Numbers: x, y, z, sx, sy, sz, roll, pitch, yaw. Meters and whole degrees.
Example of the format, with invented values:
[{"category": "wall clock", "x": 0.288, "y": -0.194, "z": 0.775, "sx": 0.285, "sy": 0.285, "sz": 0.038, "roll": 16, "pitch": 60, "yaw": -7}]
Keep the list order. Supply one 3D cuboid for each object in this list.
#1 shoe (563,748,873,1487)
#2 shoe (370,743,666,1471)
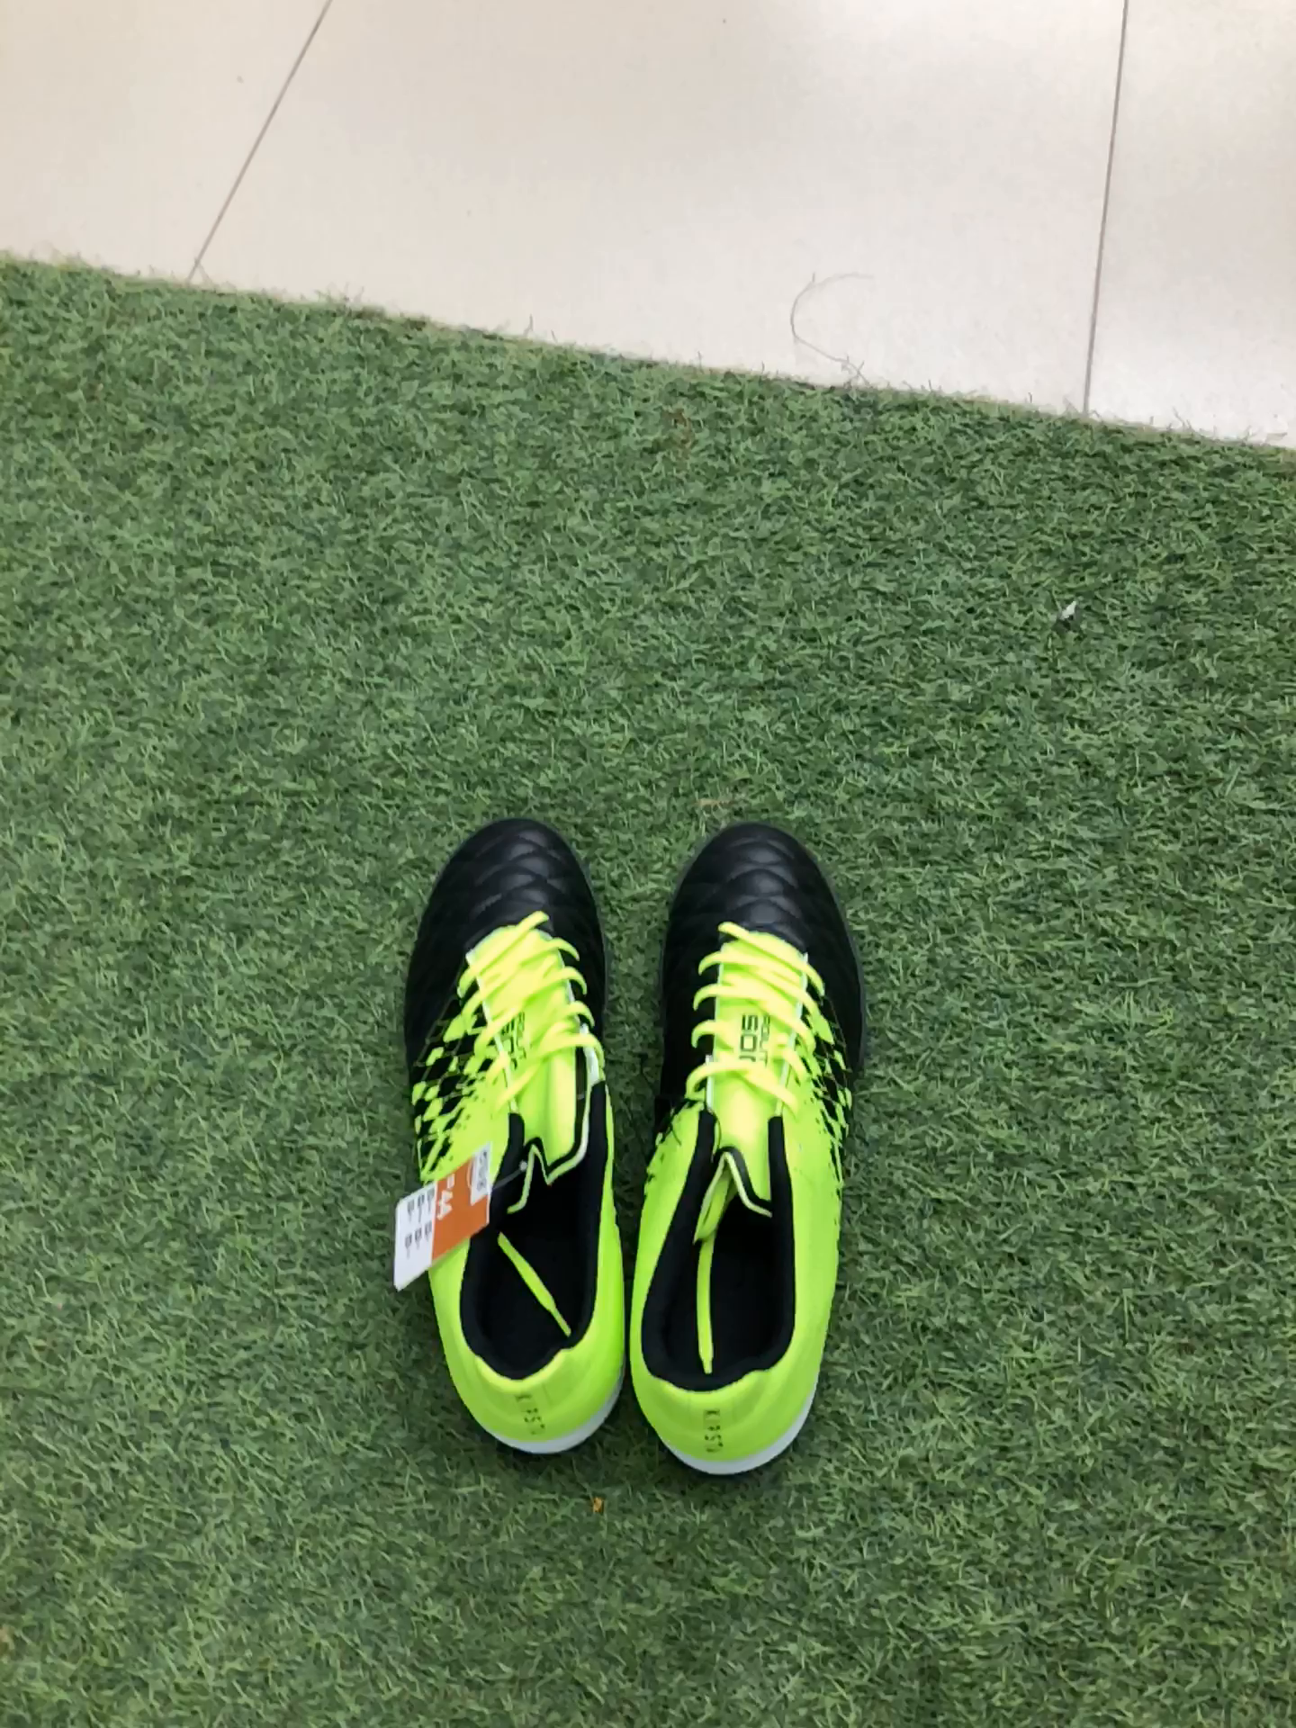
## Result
[{"category": "shoe", "x": 0.036, "y": 0.097, "z": 0.589, "sx": 0.100, "sy": 0.090, "sz": 0.281, "roll": 3, "pitch": 62, "yaw": 5}, {"category": "shoe", "x": -0.057, "y": 0.096, "z": 0.601, "sx": 0.100, "sy": 0.090, "sz": 0.281, "roll": -6, "pitch": 62, "yaw": 0}]
